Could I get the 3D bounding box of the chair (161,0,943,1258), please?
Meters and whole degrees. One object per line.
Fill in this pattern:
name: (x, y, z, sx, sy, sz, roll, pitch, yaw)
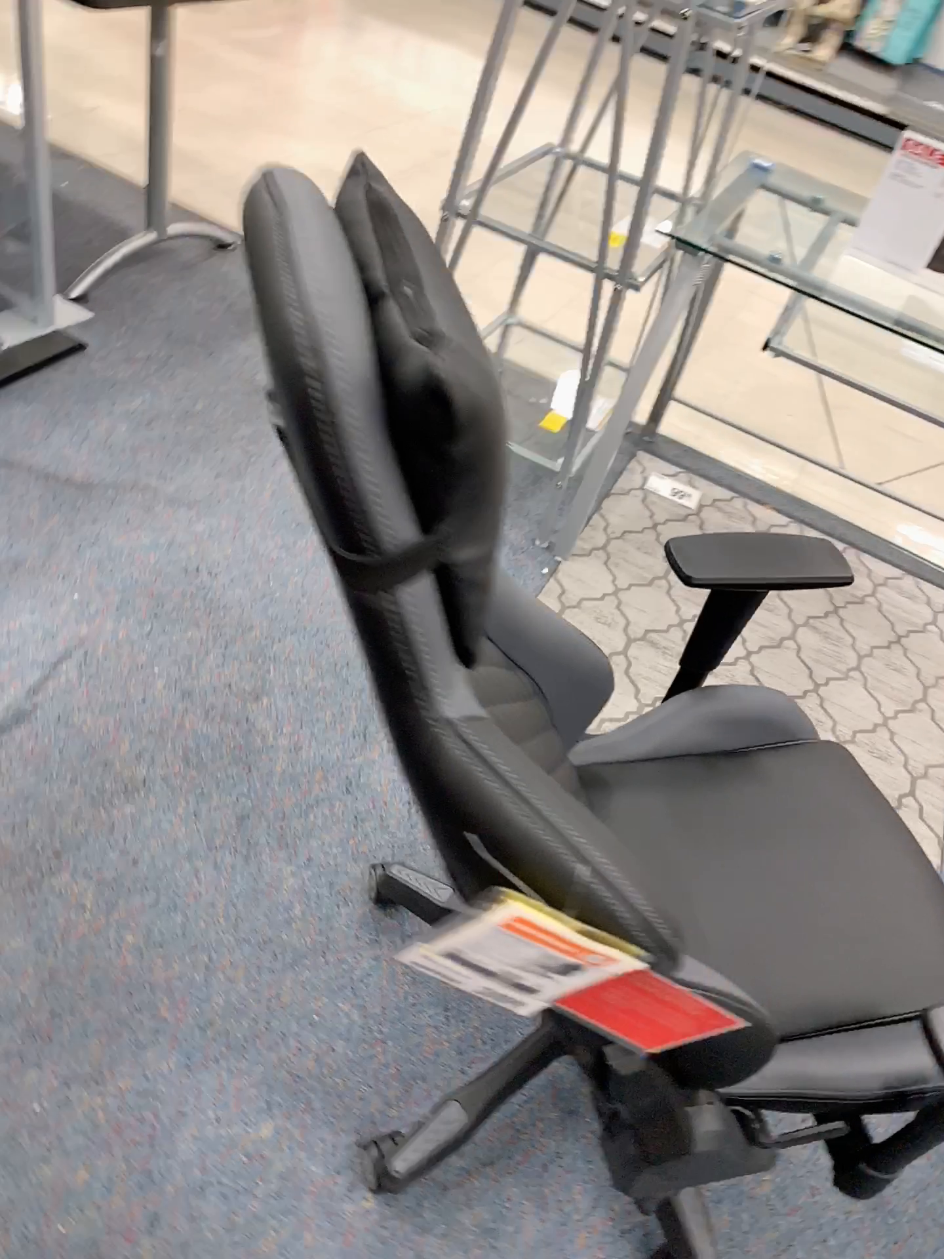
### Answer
chair: (0.198, 0.145, 0.949, 0.912, 1.062, 0.788, -1, 46, -20)
